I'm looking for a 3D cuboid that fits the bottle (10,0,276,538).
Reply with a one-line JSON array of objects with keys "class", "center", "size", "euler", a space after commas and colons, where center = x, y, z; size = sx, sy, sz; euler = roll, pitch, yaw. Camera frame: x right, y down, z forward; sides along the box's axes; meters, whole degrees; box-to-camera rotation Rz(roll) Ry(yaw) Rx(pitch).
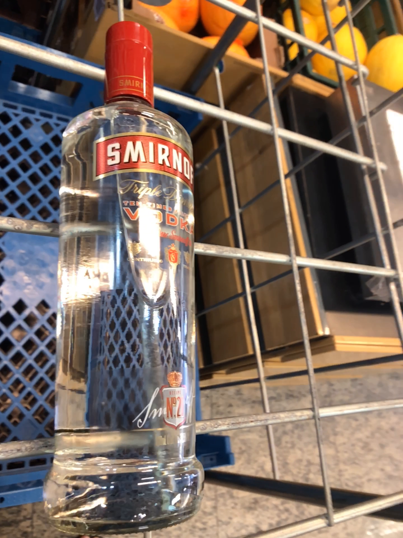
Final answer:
[{"class": "bottle", "center": [-0.039, -0.024, 0.270], "size": [0.100, 0.100, 0.310], "euler": [8, 71, -32]}]
